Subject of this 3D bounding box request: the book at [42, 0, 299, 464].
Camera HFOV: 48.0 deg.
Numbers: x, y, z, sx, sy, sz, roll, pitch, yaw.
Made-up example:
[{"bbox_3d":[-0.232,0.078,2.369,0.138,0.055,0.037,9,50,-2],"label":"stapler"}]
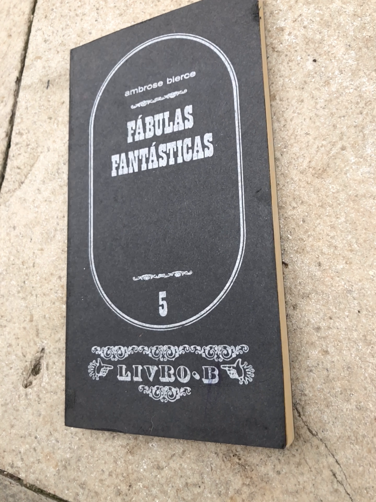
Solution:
[{"bbox_3d":[-0.014,-0.014,0.177,0.104,0.013,0.176,-6,79,25],"label":"book"}]
